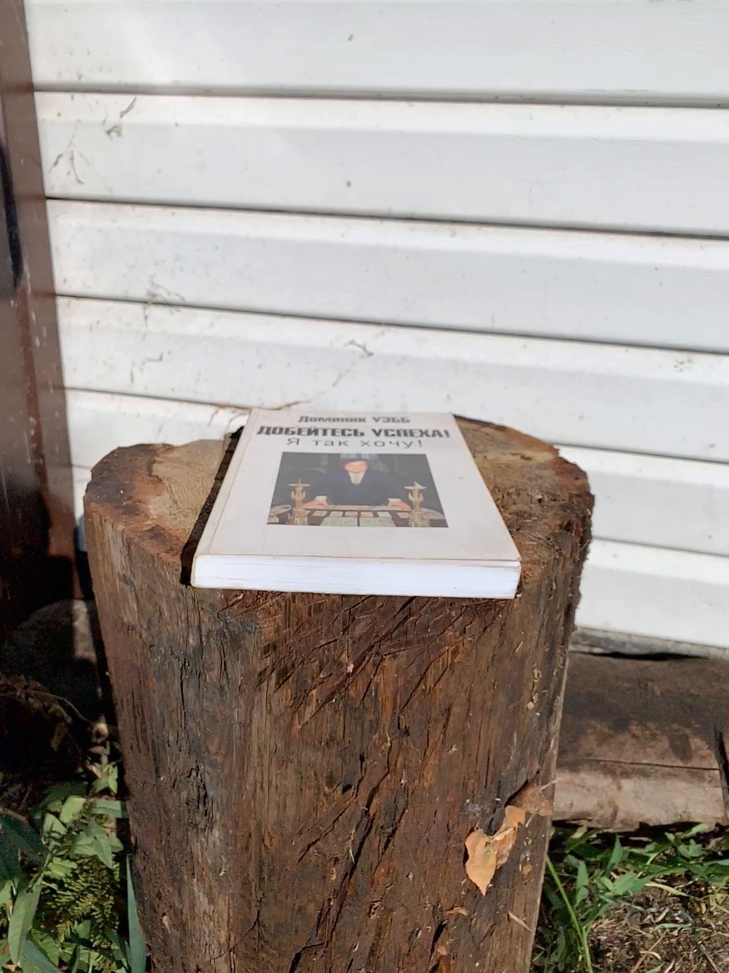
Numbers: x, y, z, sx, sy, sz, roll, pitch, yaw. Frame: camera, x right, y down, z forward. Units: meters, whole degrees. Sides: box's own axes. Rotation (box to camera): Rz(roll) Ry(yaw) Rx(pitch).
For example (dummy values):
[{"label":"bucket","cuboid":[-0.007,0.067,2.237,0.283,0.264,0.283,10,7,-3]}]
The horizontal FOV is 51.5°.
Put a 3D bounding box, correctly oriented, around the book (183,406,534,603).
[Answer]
[{"label":"book","cuboid":[-0.005,-0.003,0.402,0.139,0.020,0.211,2,22,-2]}]
